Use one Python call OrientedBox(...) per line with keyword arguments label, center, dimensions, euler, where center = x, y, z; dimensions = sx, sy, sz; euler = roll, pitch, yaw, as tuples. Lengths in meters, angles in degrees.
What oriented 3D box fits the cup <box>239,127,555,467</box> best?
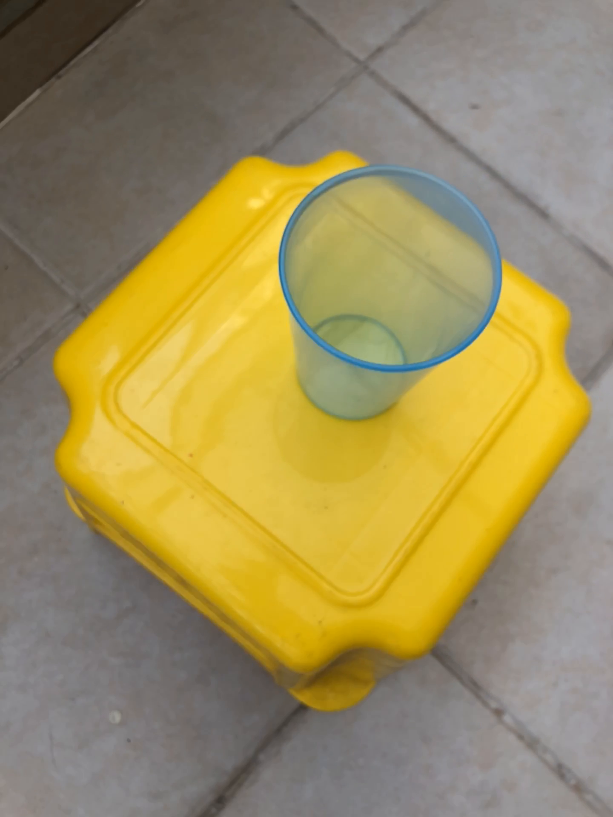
OrientedBox(label="cup", center=(0.029, -0.036, 0.276), dimensions=(0.080, 0.100, 0.070), euler=(32, 76, 6))
